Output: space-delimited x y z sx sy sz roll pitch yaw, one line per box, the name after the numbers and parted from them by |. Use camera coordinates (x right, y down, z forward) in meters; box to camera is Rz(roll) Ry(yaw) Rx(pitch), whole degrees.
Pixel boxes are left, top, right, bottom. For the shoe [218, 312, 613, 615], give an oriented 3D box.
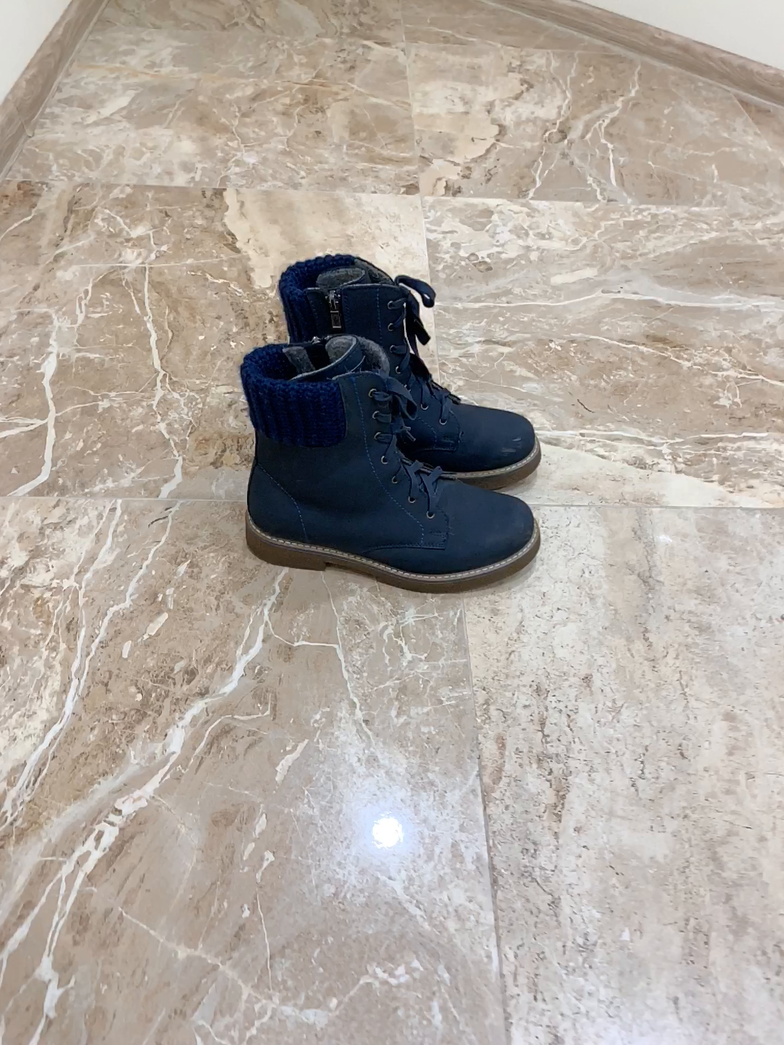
0.014 -0.039 0.635 0.260 0.199 0.102 6 49 1 | shoe

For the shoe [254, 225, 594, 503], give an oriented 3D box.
0.023 -0.135 0.721 0.260 0.199 0.102 6 49 1 | shoe
